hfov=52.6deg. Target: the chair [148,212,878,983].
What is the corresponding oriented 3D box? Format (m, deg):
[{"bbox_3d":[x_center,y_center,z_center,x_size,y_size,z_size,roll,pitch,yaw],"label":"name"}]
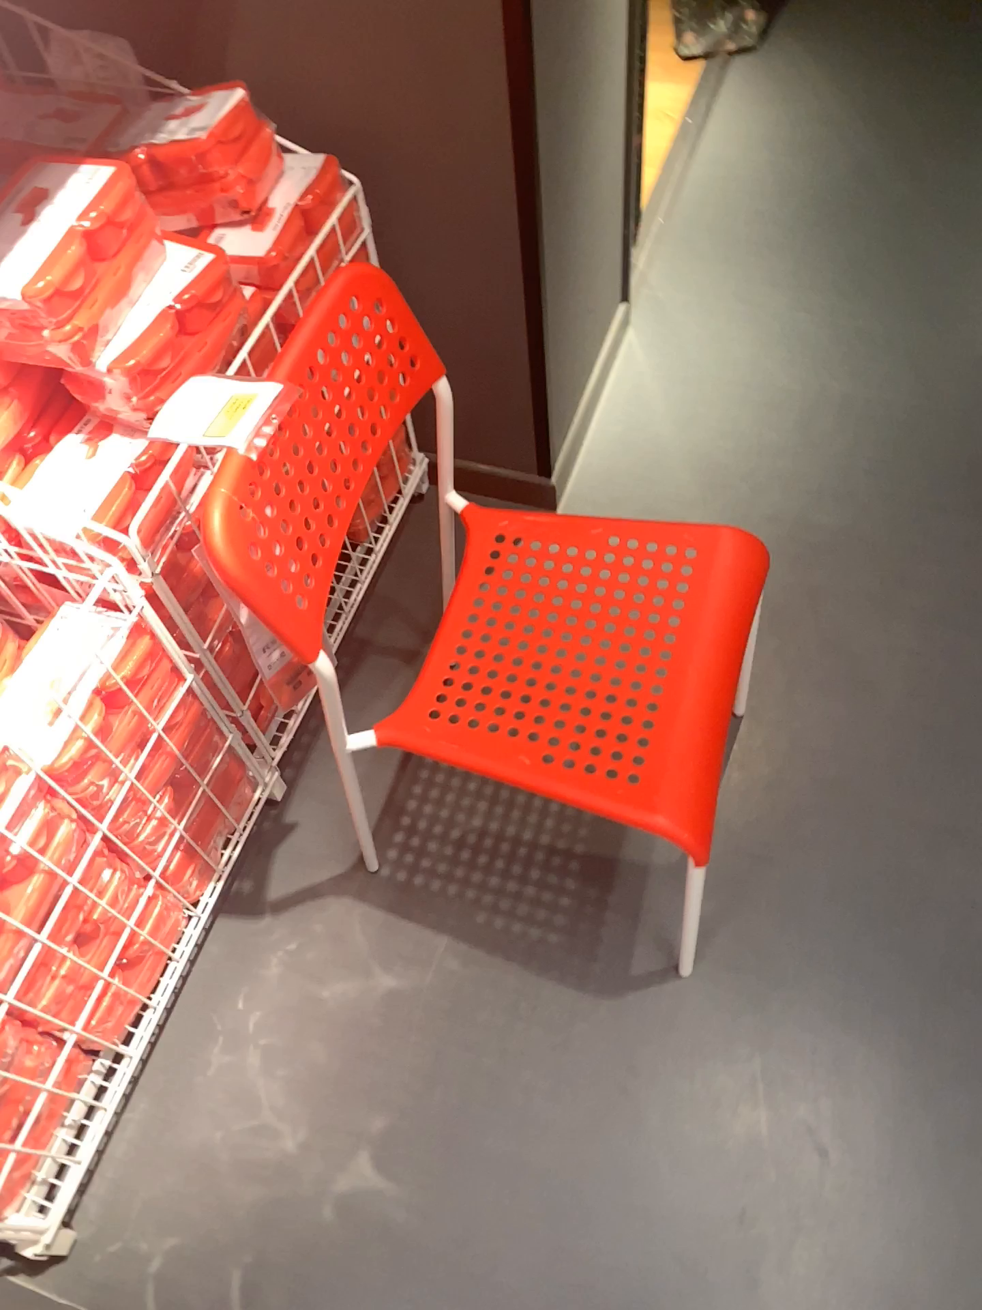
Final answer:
[{"bbox_3d":[0.065,-0.008,1.051,0.460,0.689,0.411,13,60,14],"label":"chair"}]
